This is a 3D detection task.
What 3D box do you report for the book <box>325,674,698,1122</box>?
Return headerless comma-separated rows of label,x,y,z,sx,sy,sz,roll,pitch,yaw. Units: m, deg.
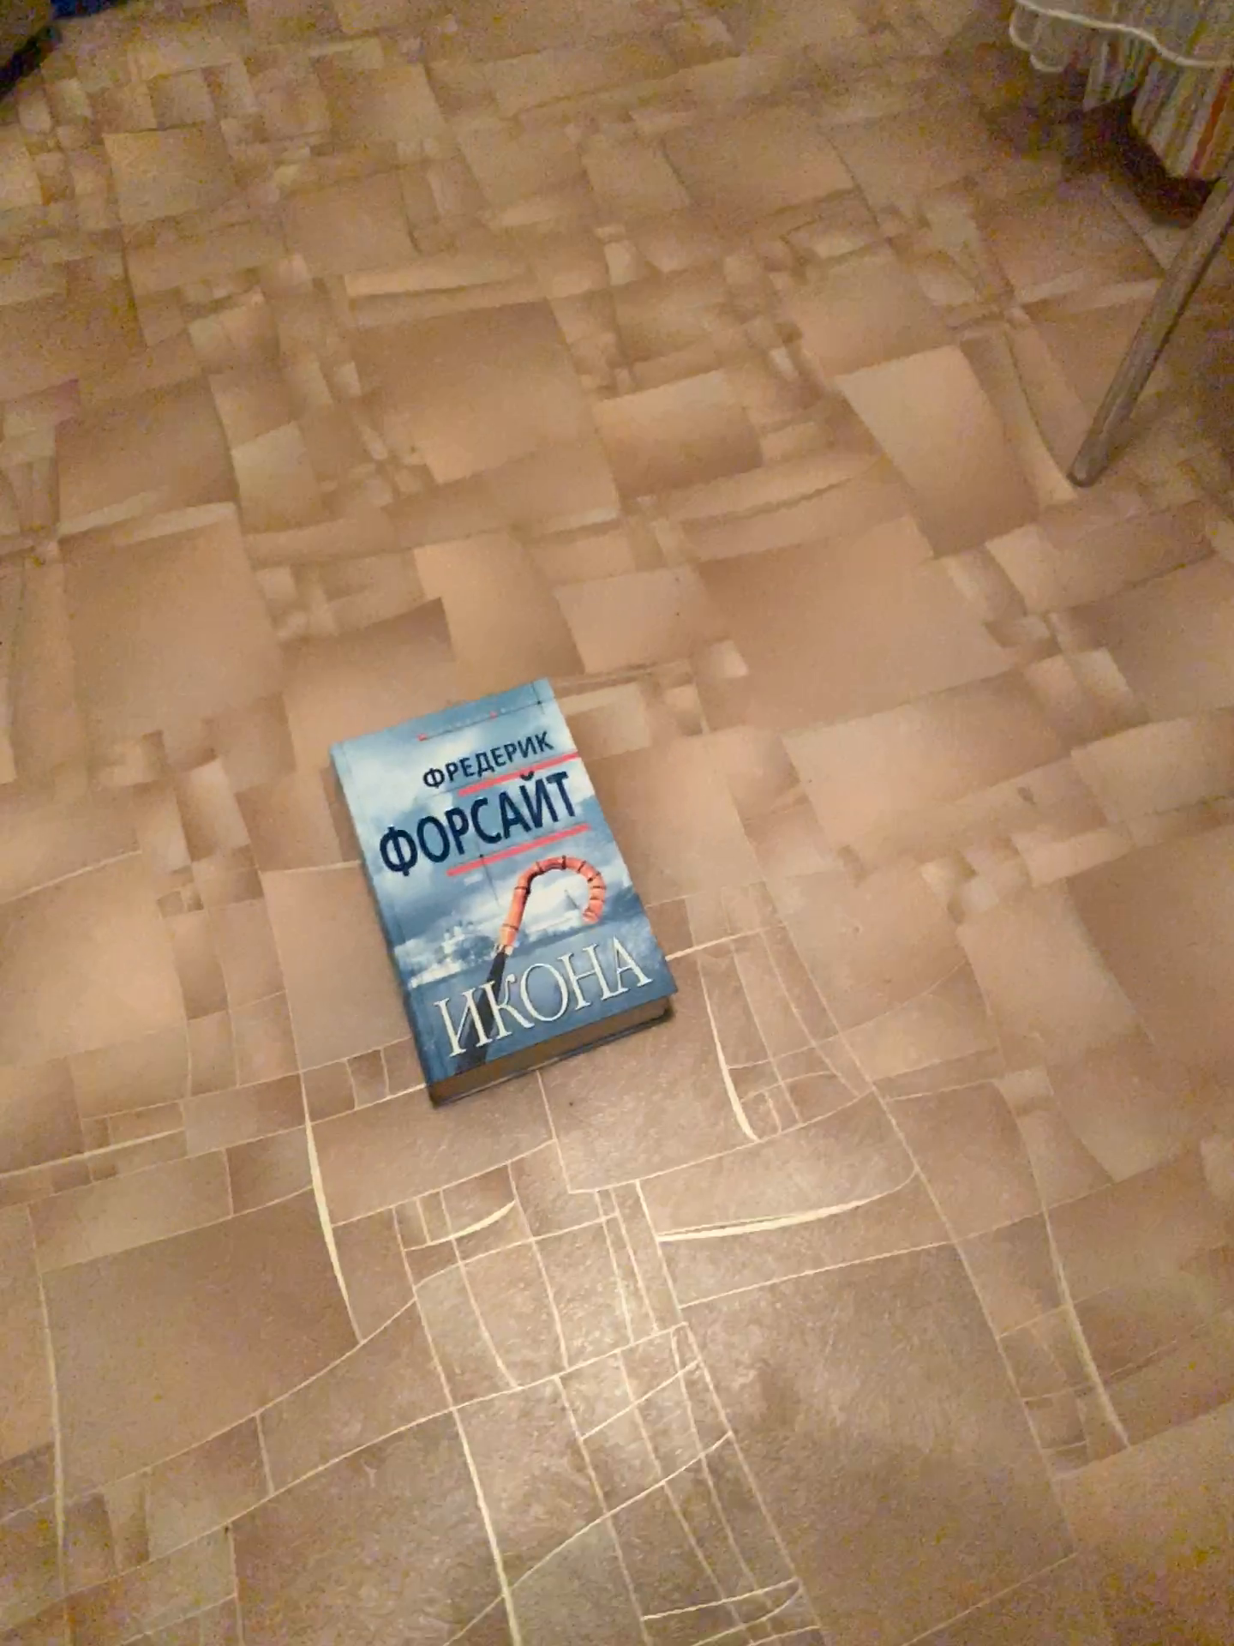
book,-0.065,0.038,0.740,0.152,0.056,0.224,-18,63,-8
